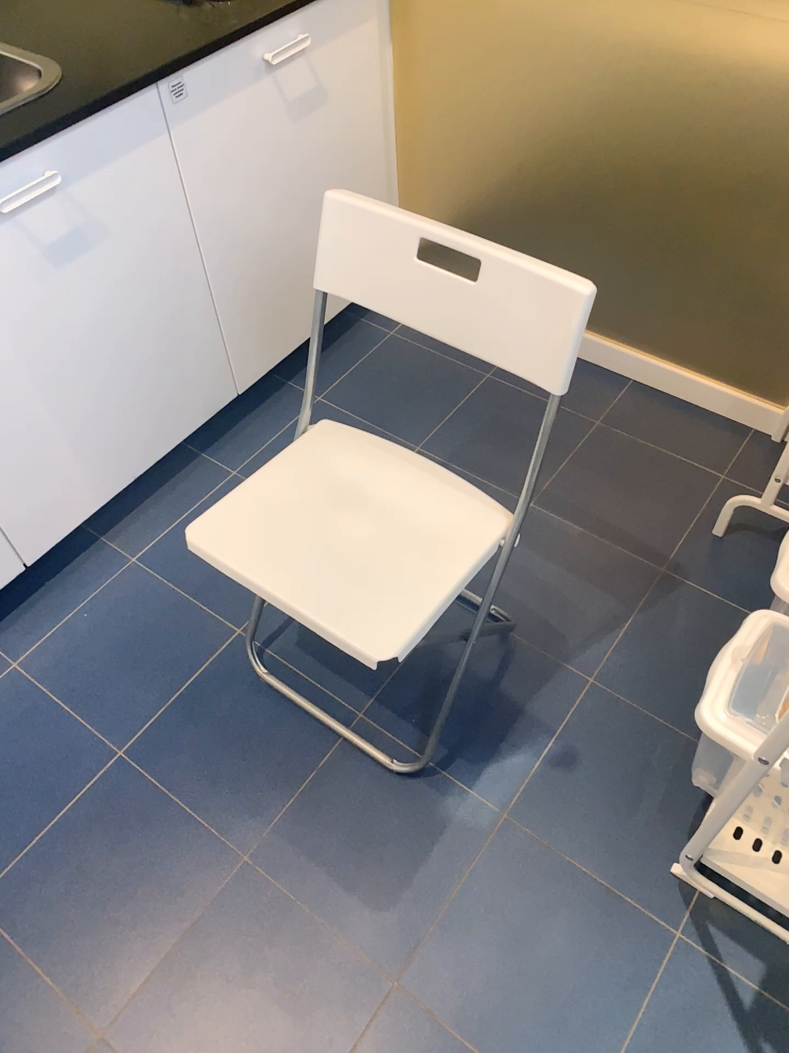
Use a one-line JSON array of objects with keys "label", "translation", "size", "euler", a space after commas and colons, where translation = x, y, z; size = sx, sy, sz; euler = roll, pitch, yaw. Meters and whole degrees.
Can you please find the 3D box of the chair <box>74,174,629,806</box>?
[{"label": "chair", "translation": [-0.029, -0.026, 1.198], "size": [0.461, 0.708, 0.451], "euler": [29, 58, 24]}]
